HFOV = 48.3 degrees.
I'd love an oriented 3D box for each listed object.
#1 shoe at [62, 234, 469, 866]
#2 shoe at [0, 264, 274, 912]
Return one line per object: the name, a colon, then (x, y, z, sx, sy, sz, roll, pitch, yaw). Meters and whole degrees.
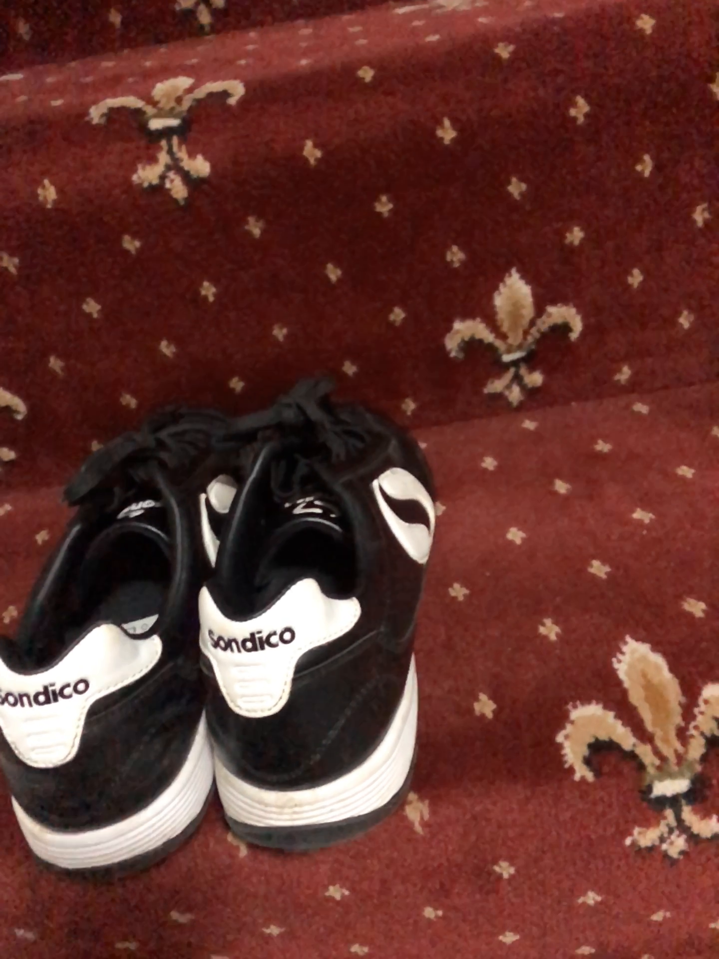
shoe: (-0.020, -0.005, 0.357, 0.100, 0.099, 0.302, -6, 35, 5)
shoe: (-0.103, 0.011, 0.361, 0.100, 0.099, 0.302, -8, 35, 2)
